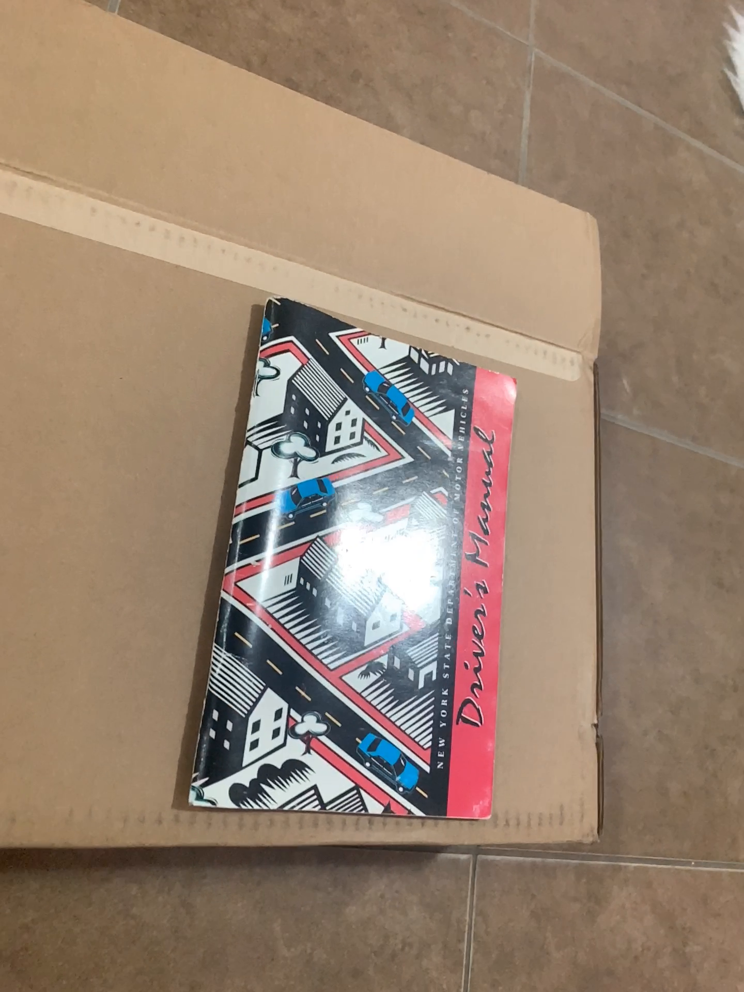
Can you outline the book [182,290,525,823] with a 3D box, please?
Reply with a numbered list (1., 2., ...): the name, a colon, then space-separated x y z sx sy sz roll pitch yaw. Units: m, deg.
1. book: 0.003 0.026 0.329 0.134 0.013 0.207 13 72 -24
